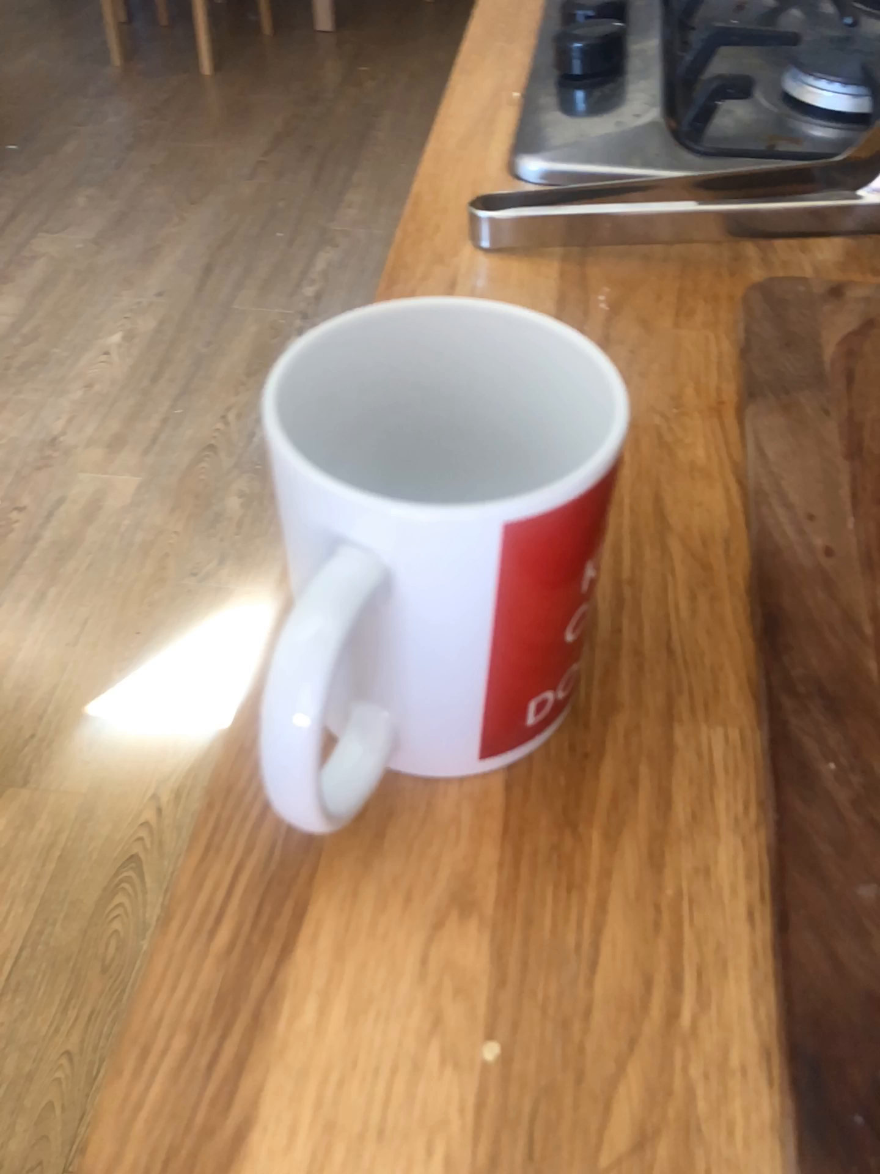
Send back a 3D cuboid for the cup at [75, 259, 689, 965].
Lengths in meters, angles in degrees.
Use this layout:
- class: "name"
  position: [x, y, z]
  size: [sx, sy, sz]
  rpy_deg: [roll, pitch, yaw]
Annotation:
- class: "cup"
  position: [-0.004, 0.001, 0.237]
  size: [0.089, 0.094, 0.124]
  rpy_deg: [17, 48, 11]
